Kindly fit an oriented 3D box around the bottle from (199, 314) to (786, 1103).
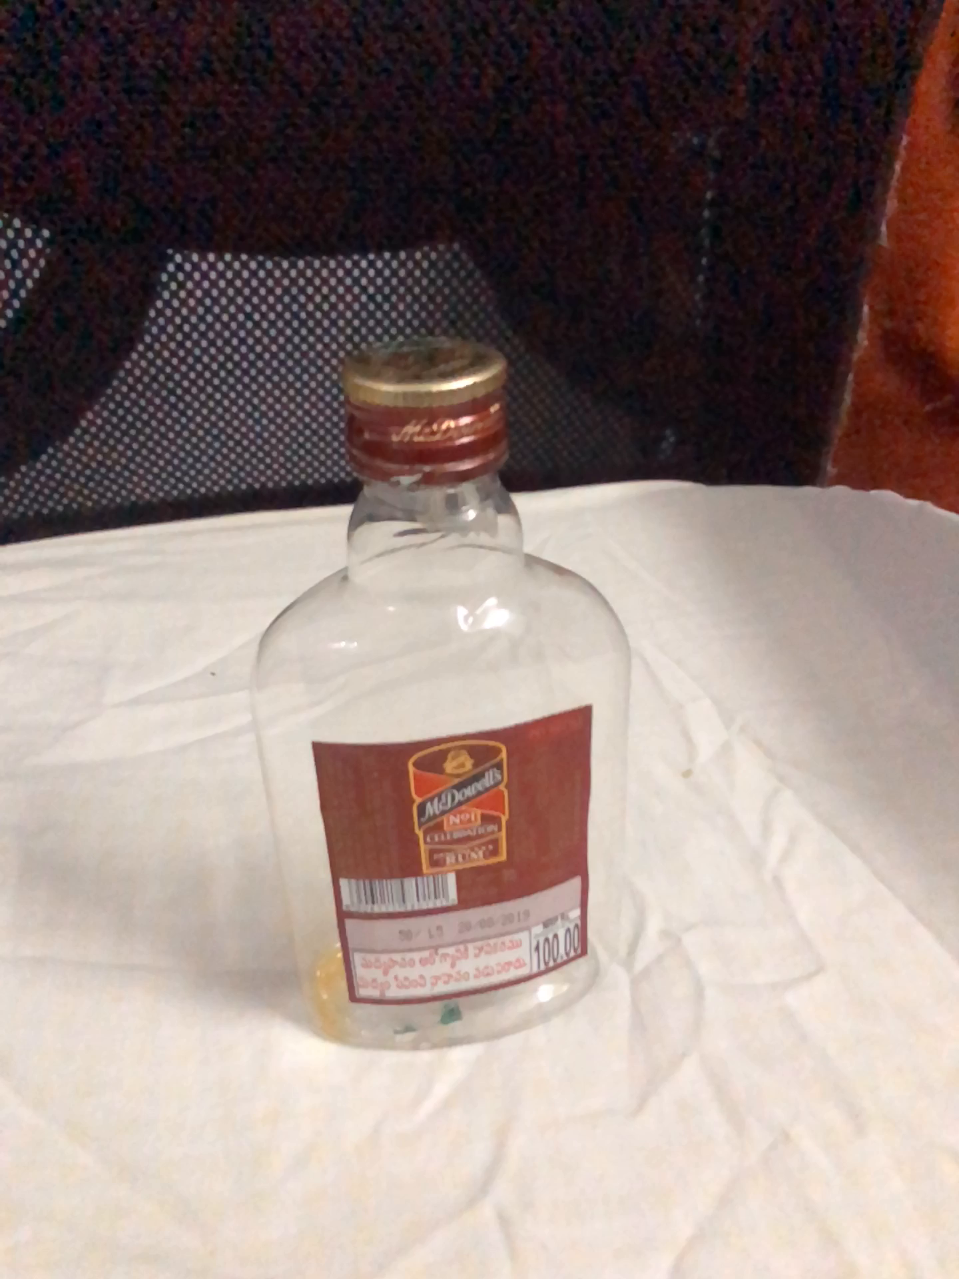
[{"bbox_3d":[-0.001,0.018,0.196,0.080,0.139,0.040,-6,33,-10],"label":"bottle"}]
